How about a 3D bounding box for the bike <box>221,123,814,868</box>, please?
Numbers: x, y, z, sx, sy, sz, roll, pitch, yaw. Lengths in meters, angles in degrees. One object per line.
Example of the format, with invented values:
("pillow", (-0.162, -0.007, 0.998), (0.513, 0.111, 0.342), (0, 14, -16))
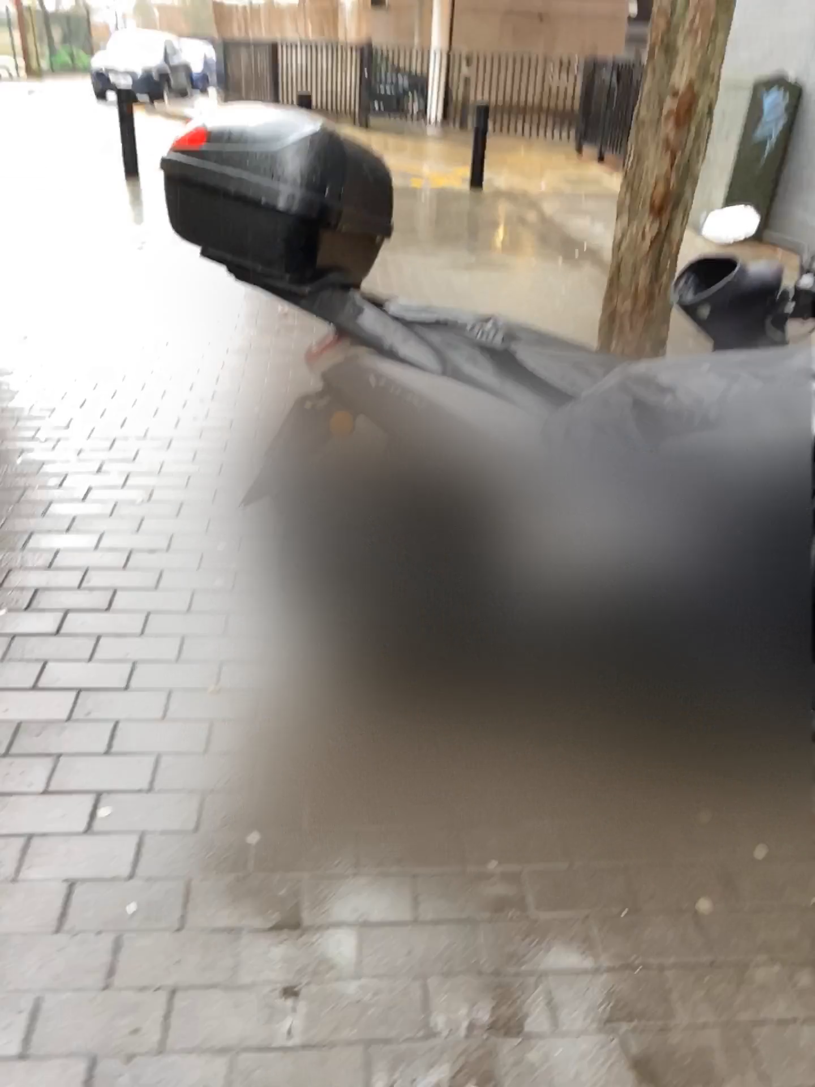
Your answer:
("bike", (0.618, -0.168, 1.772), (1.731, 1.121, 0.763), (8, 30, 7))
